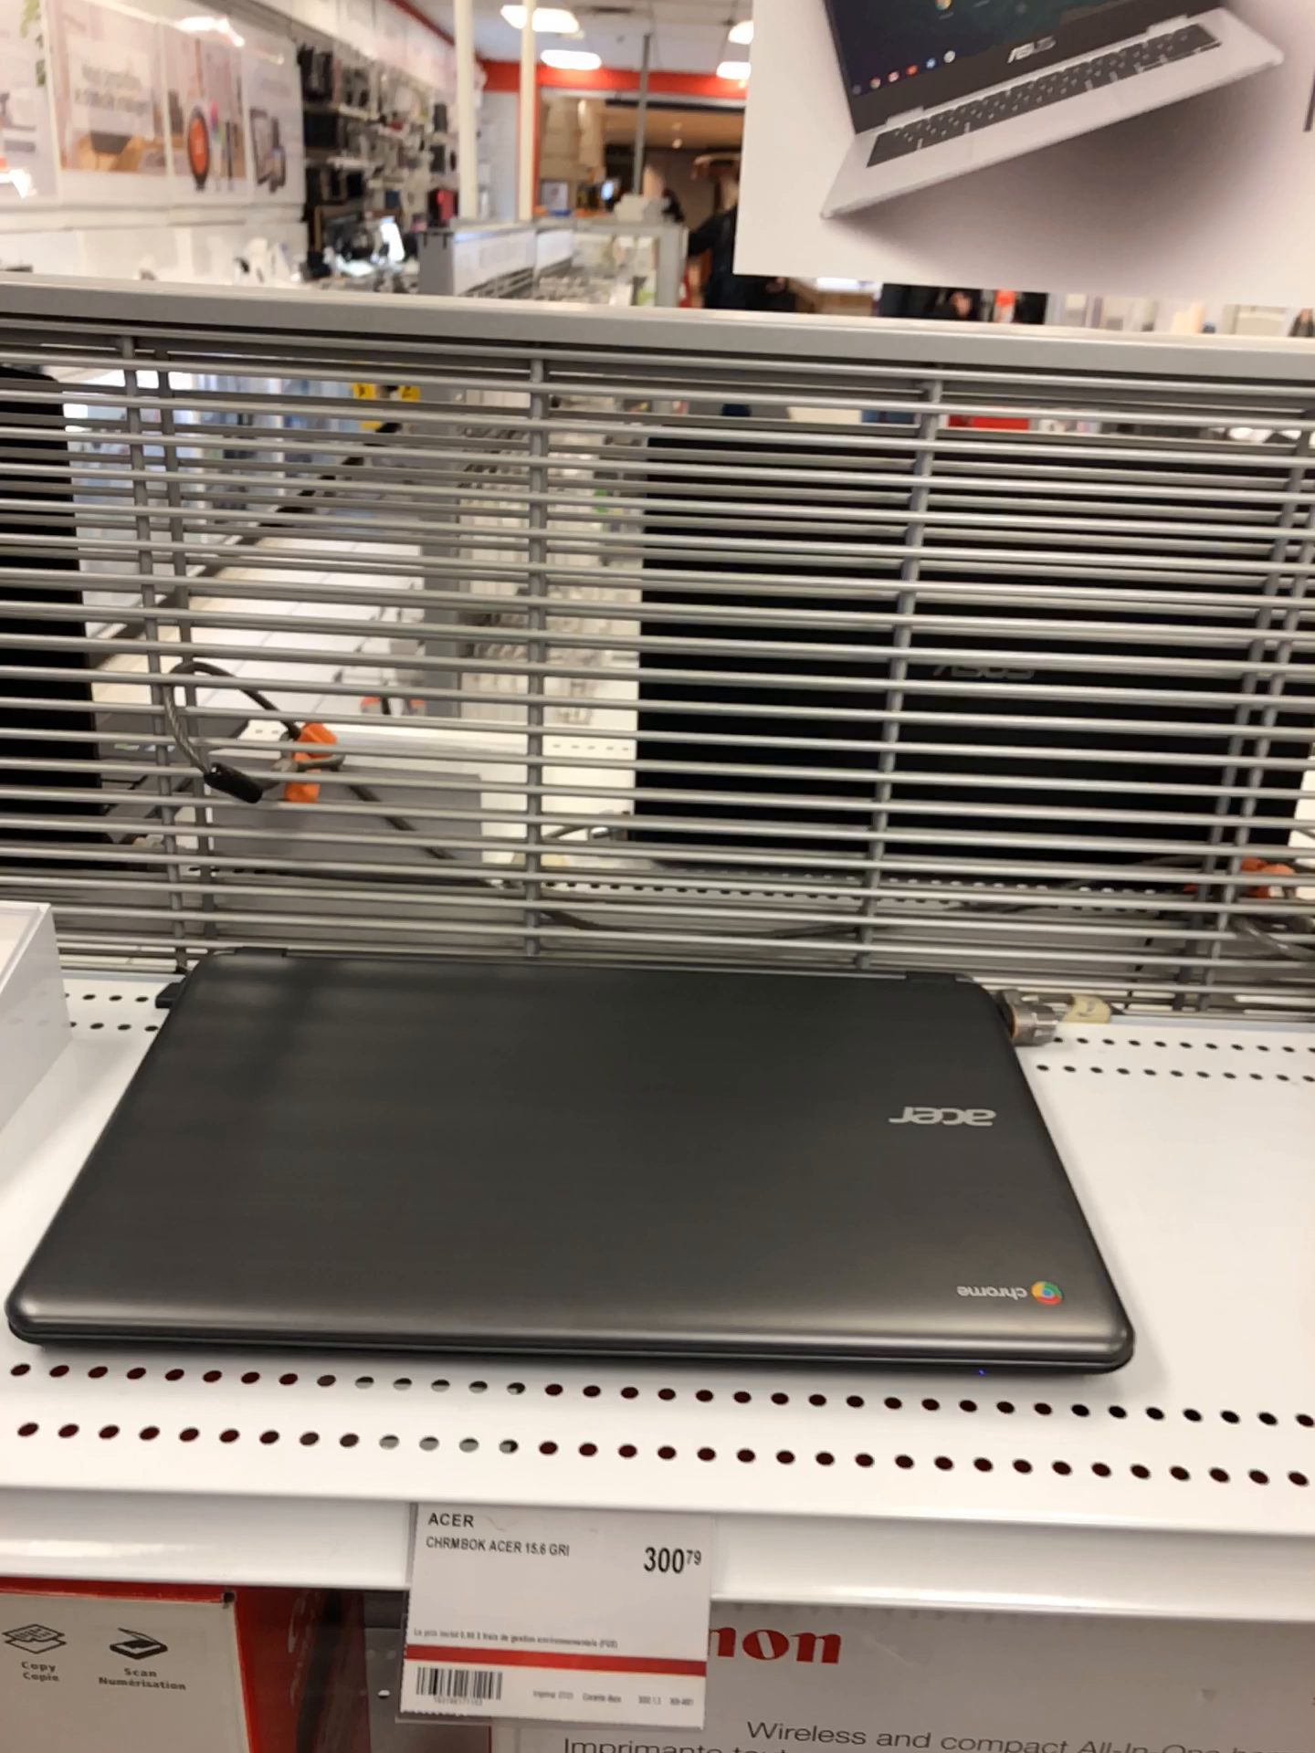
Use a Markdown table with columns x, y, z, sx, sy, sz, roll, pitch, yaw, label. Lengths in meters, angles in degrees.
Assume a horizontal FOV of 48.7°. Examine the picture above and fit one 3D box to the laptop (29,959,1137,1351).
| x | y | z | sx | sy | sz | roll | pitch | yaw | label |
| --- | --- | --- | --- | --- | --- | --- | --- | --- | --- |
| -0.029 | 0.098 | 0.588 | 0.367 | 0.001 | 0.238 | 2 | 25 | 0 | laptop |
